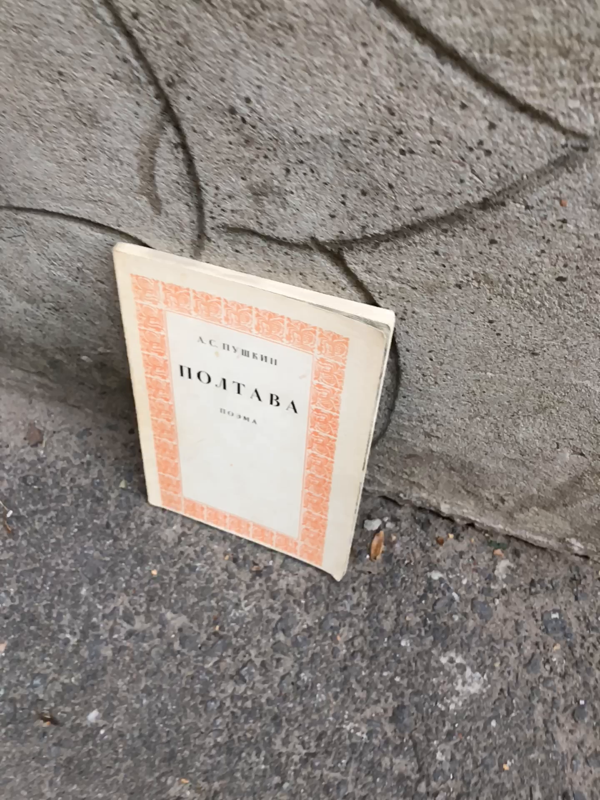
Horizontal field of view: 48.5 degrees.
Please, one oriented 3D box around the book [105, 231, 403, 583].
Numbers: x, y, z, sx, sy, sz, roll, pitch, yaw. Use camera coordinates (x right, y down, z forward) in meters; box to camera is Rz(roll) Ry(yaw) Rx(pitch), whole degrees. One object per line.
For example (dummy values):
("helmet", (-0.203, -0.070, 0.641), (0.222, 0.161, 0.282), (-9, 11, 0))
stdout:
("book", (-0.031, 0.015, 0.388), (0.150, 0.199, 0.020), (19, 44, 15))
